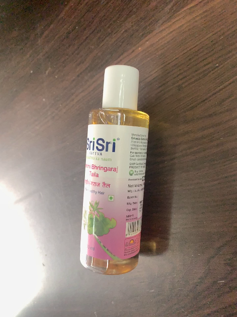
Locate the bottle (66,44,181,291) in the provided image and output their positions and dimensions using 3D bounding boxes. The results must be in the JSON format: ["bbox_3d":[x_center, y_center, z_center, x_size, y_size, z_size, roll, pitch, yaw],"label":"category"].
[{"bbox_3d":[0.003,0.004,0.162,0.050,0.040,0.130,7,94,38],"label":"bottle"}]
